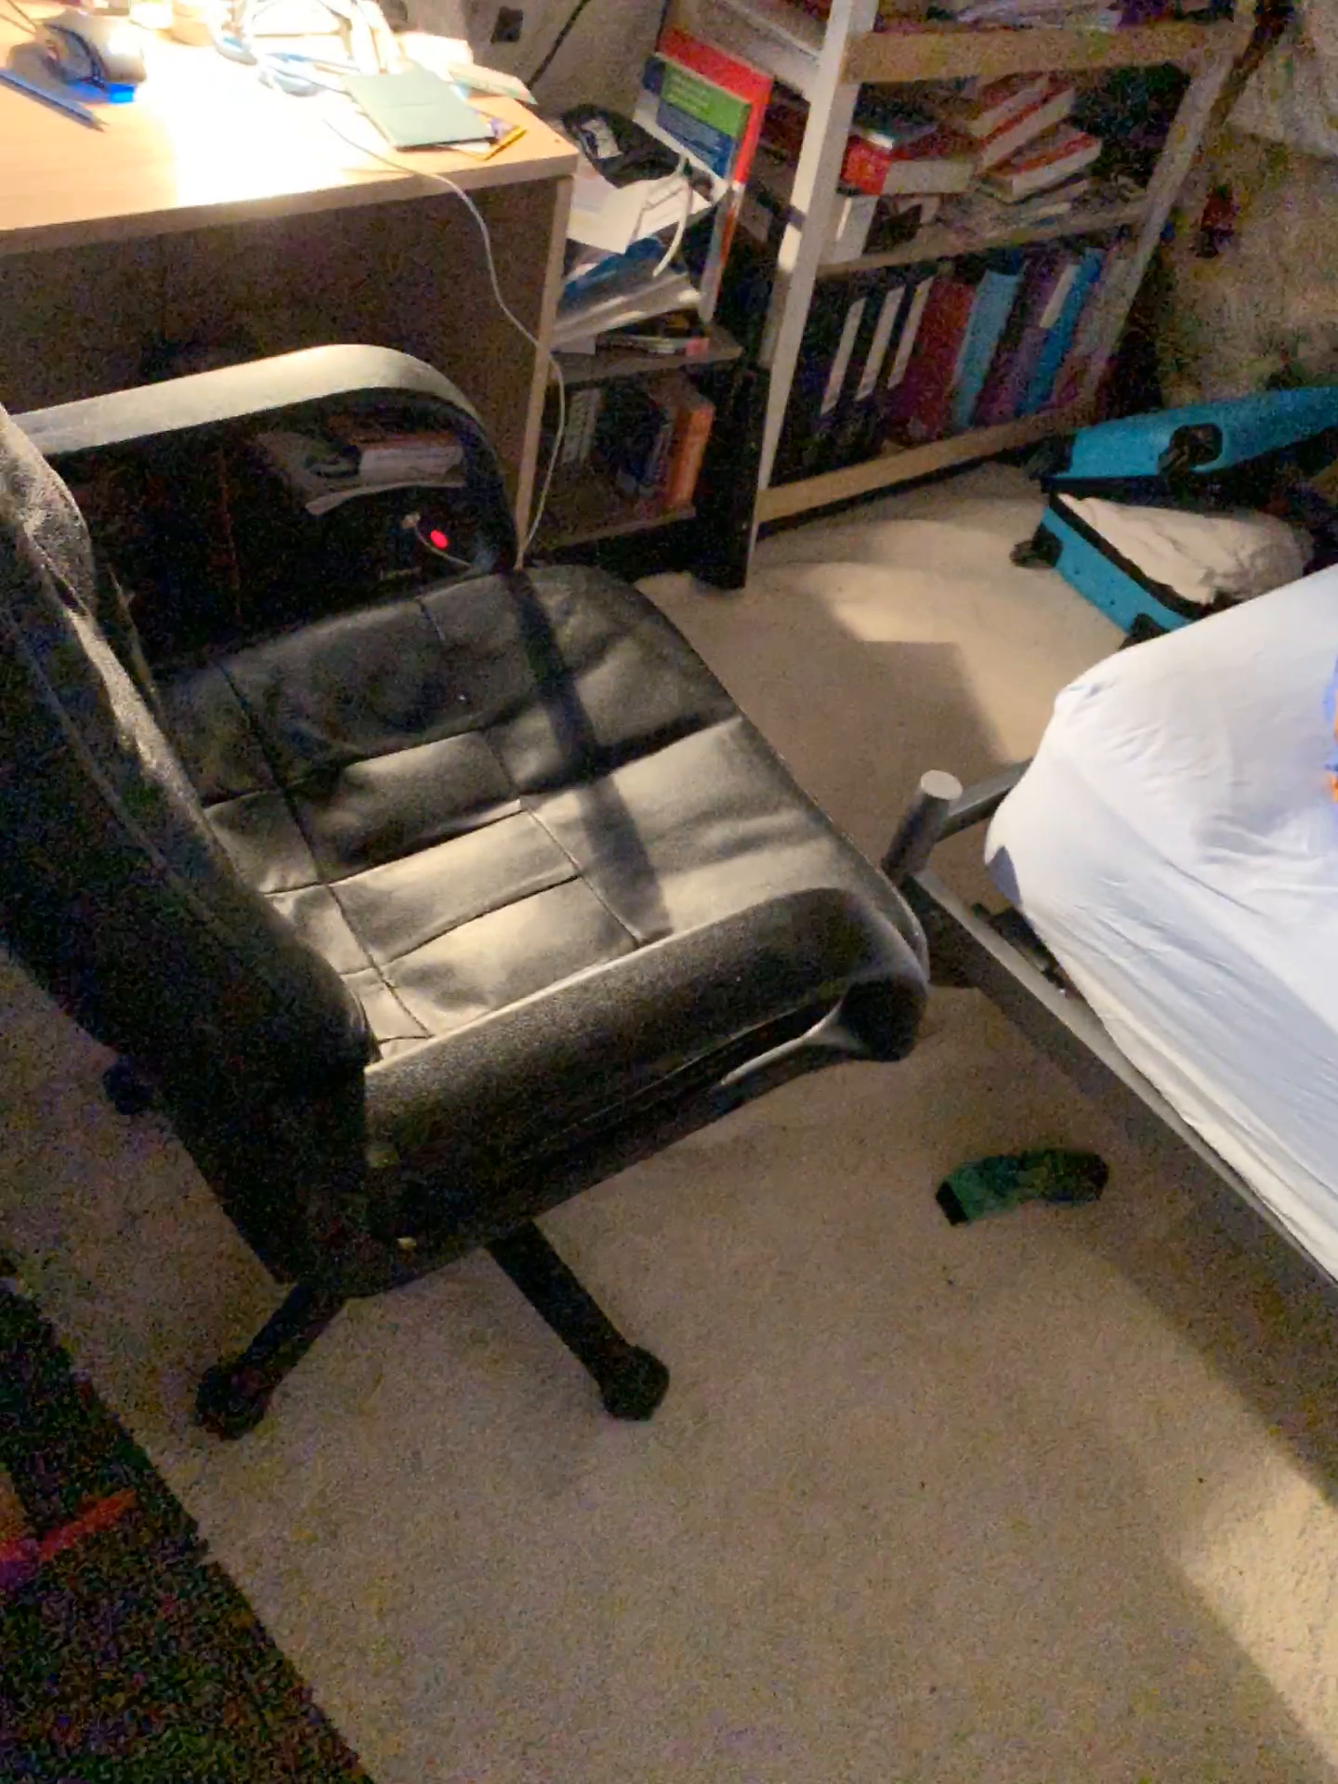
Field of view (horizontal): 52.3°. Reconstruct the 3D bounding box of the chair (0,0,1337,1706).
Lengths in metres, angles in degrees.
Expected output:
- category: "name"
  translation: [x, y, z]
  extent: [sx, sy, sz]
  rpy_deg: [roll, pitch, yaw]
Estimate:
- category: "chair"
  translation: [-0.172, -0.053, 0.963]
  extent: [0.653, 1.160, 0.713]
  rpy_deg: [-26, 62, -26]
